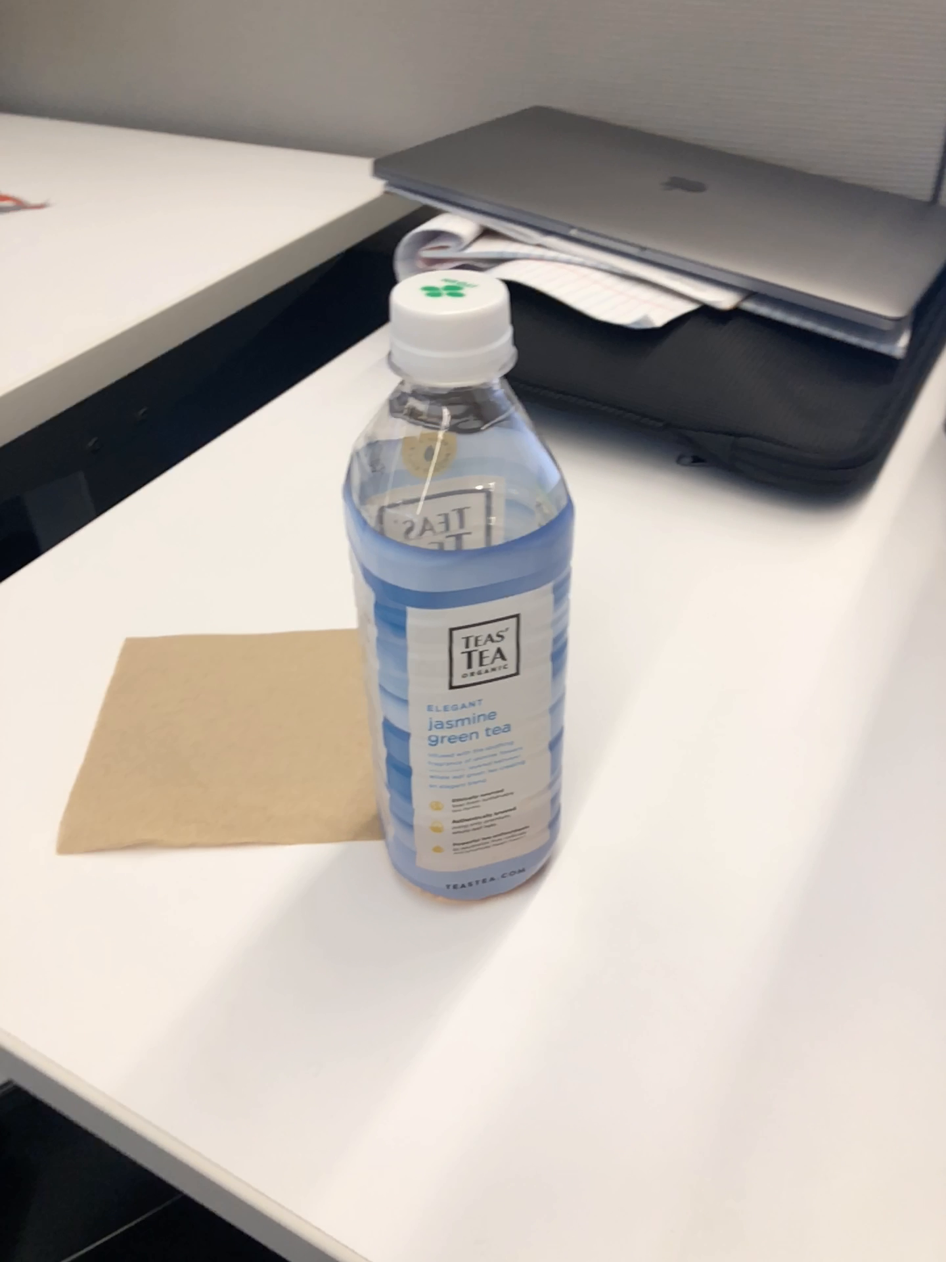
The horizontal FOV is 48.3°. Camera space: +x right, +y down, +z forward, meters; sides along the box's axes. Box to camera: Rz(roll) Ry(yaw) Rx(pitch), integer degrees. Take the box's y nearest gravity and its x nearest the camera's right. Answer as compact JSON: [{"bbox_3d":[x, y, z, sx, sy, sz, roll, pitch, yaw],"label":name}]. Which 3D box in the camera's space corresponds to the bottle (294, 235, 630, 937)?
[{"bbox_3d":[-0.003,-0.005,0.336,0.070,0.209,0.070,-1,37,1],"label":"bottle"}]
